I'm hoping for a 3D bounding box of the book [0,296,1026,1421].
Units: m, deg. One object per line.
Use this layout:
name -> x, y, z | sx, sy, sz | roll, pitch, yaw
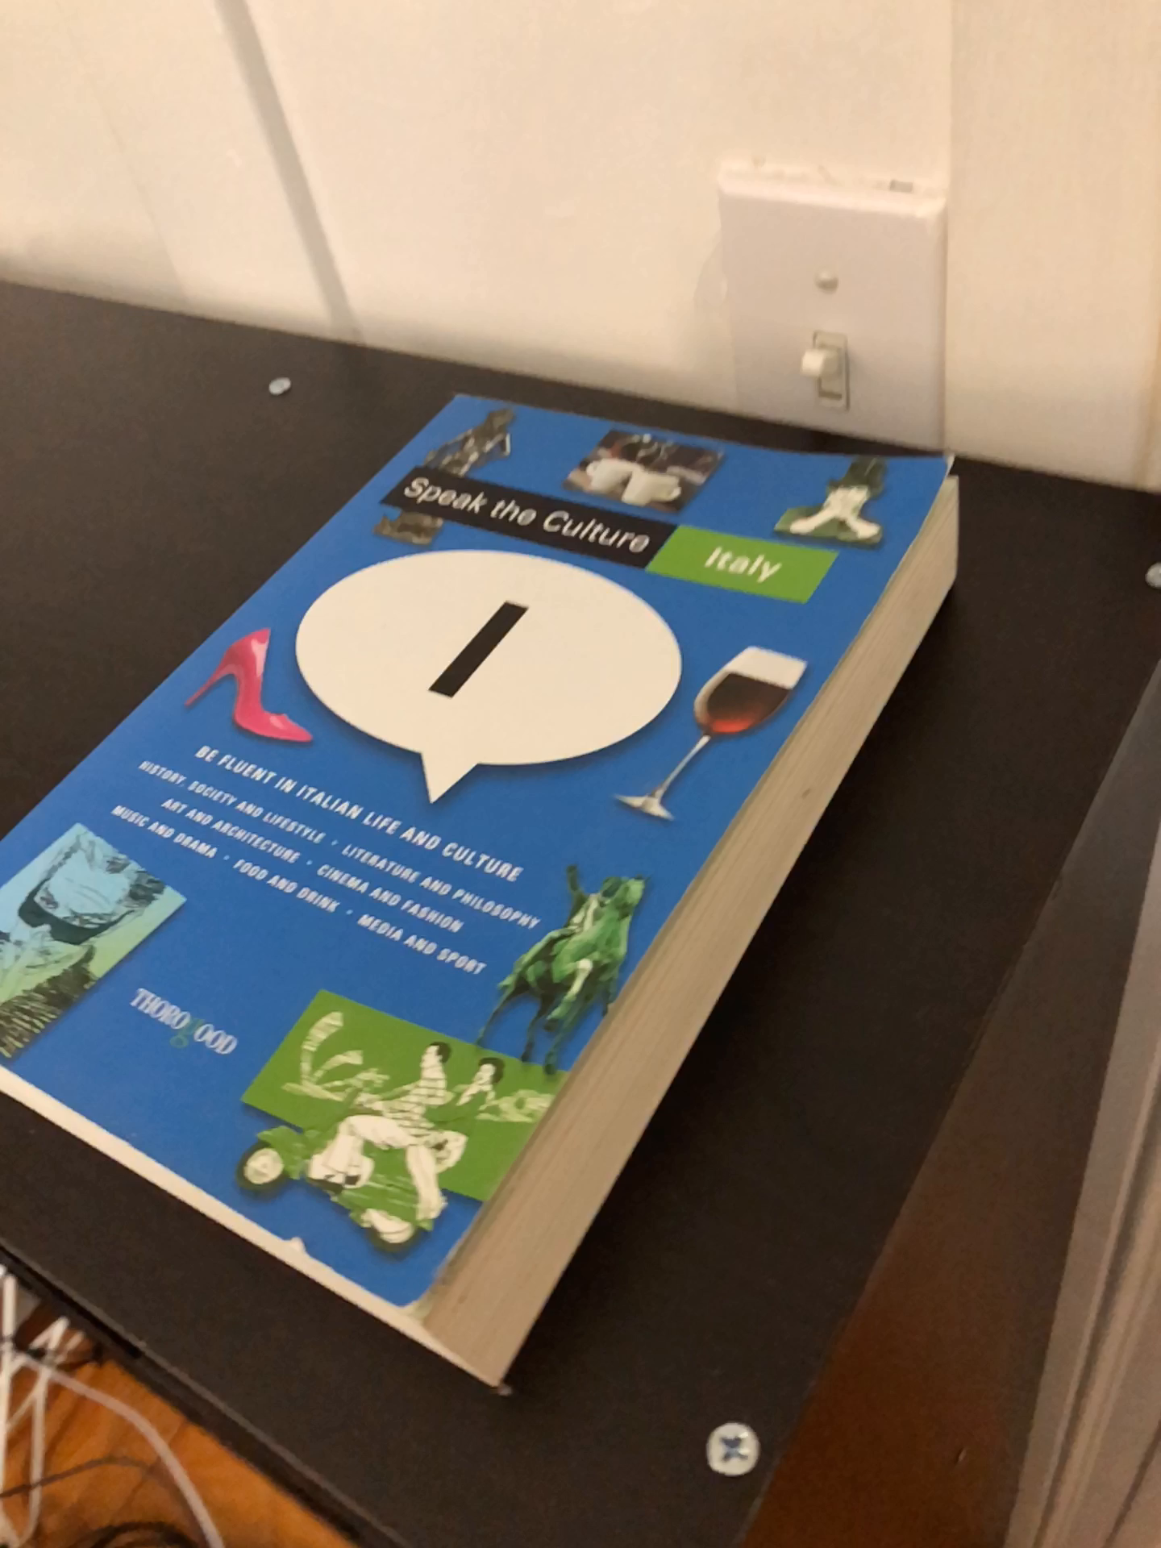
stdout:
book -> -0.037, -0.025, 0.308 | 0.200, 0.030, 0.261 | 17, 54, 28
